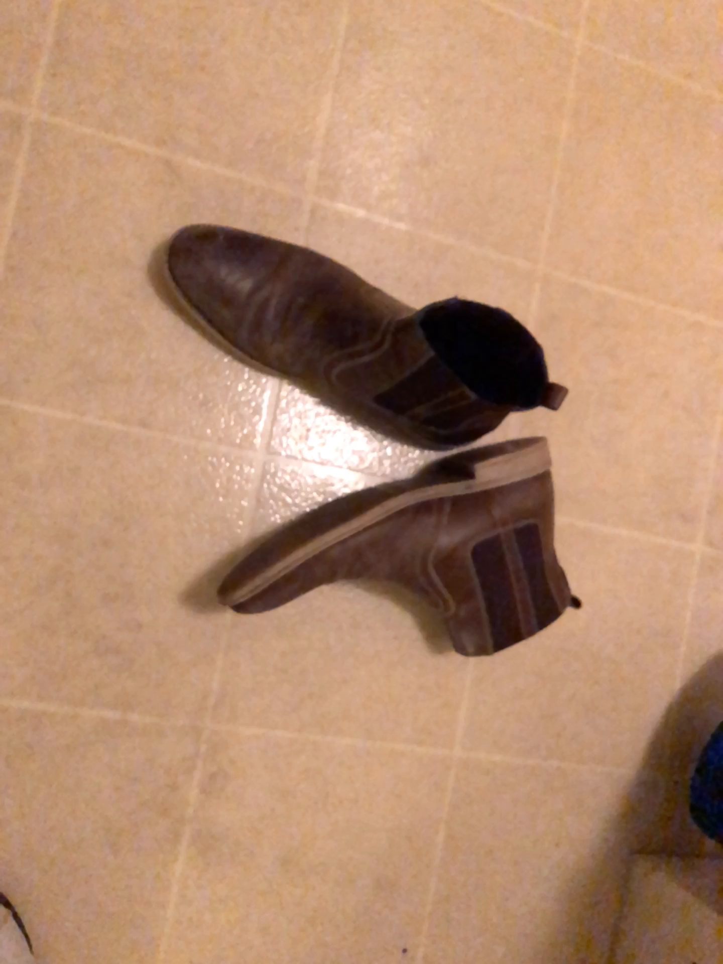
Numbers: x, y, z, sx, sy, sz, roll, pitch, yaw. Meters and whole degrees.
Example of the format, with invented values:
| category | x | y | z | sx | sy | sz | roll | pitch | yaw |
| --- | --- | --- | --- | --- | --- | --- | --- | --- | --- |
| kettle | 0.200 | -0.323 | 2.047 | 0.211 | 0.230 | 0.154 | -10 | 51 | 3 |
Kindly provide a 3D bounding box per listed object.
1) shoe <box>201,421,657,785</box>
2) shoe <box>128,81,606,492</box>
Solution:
| category | x | y | z | sx | sy | sz | roll | pitch | yaw |
| --- | --- | --- | --- | --- | --- | --- | --- | --- | --- |
| shoe | 0.054 | 0.081 | 0.645 | 0.314 | 0.111 | 0.161 | -21 | 97 | -15 |
| shoe | -0.005 | -0.120 | 0.603 | 0.313 | 0.161 | 0.111 | 31 | 81 | -14 |
